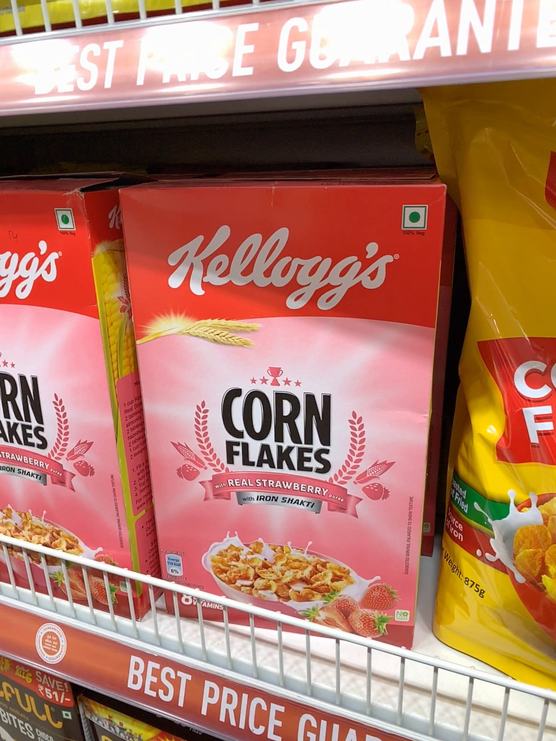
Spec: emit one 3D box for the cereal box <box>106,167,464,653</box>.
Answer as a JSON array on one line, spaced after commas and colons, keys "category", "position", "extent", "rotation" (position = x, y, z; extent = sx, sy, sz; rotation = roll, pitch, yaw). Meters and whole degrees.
[{"category": "cereal box", "position": [0.011, 0.021, 0.353], "extent": [0.170, 0.268, 0.091], "rotation": [2, 20, 12]}]
